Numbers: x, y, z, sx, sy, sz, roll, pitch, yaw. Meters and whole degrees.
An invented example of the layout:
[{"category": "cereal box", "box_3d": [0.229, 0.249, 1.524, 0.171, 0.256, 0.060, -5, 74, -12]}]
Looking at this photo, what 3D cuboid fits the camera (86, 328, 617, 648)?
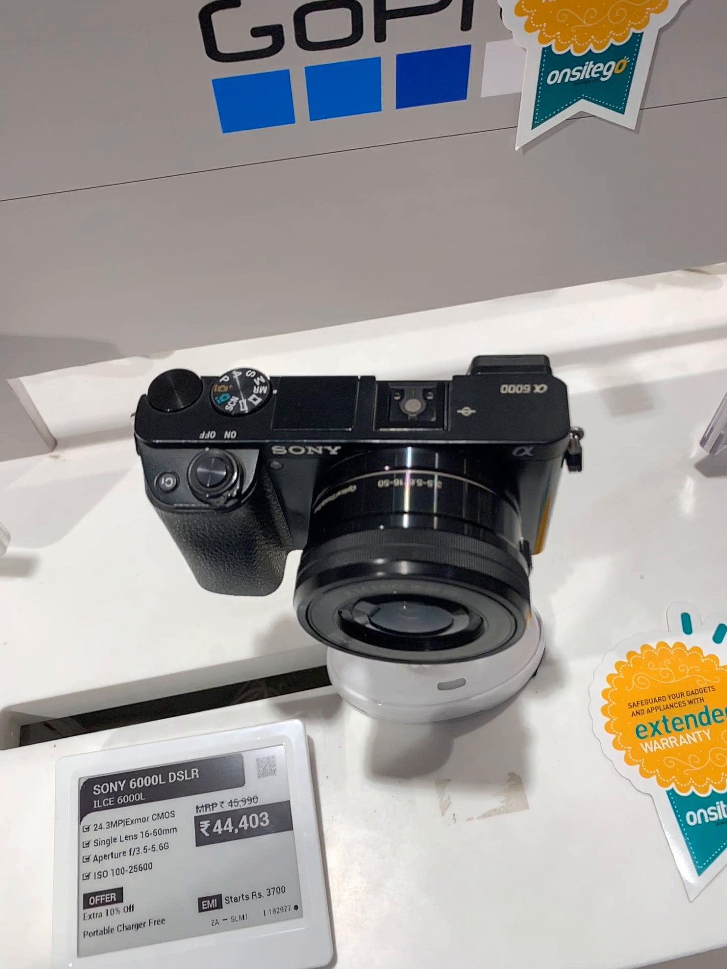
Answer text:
[{"category": "camera", "box_3d": [-0.002, 0.007, 0.220, 0.120, 0.090, 0.050, -2, 57, 2]}]
